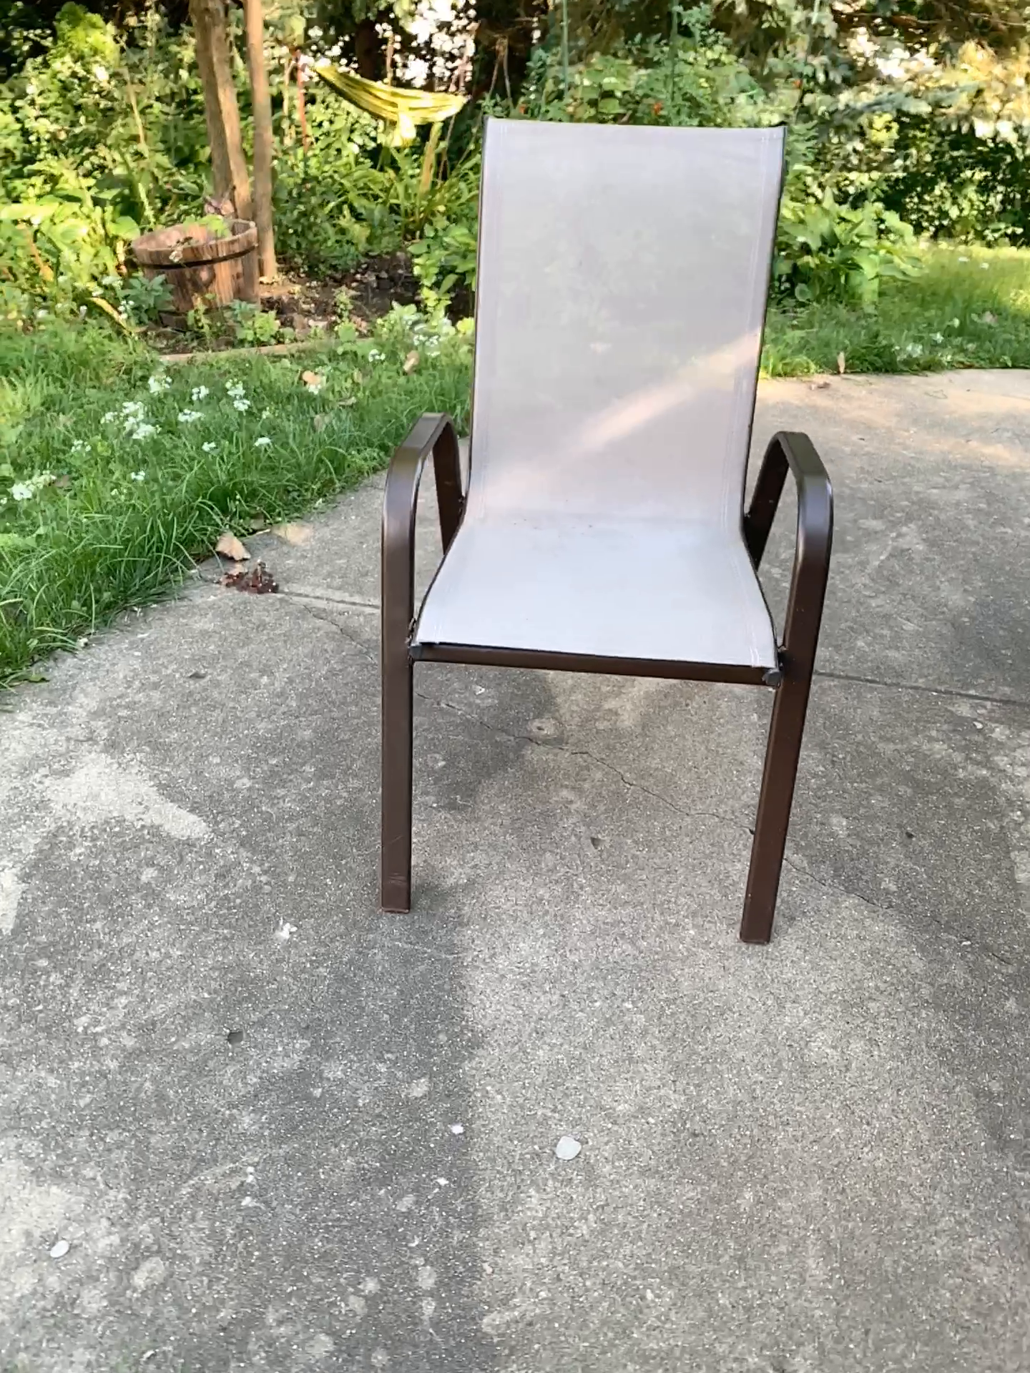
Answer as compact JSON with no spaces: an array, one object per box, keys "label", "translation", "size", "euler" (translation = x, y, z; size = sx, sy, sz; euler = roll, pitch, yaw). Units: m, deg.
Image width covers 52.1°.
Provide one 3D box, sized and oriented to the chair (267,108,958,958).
[{"label":"chair","translation":[0.101,-0.239,1.416],"size":[0.570,0.845,0.745],"euler":[5,35,4]}]
